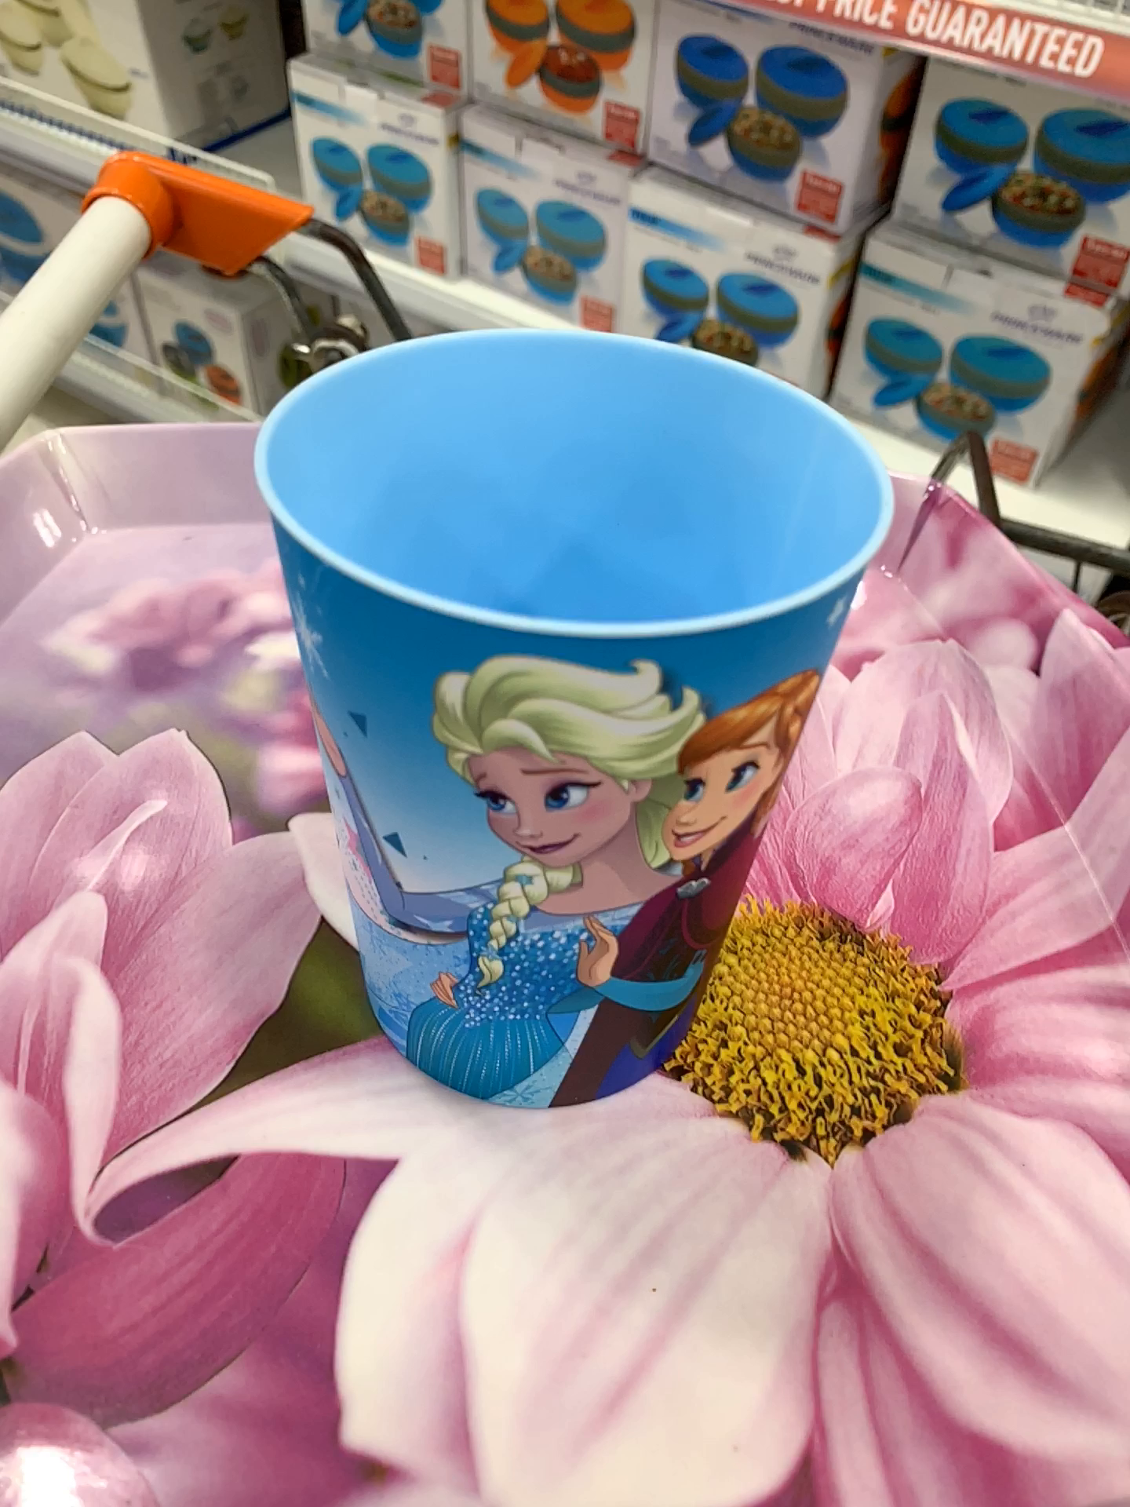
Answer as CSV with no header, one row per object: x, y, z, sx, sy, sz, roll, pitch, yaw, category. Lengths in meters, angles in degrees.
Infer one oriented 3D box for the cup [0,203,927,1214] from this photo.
-0.009,-0.003,0.164,0.080,0.109,0.060,19,47,16,cup
